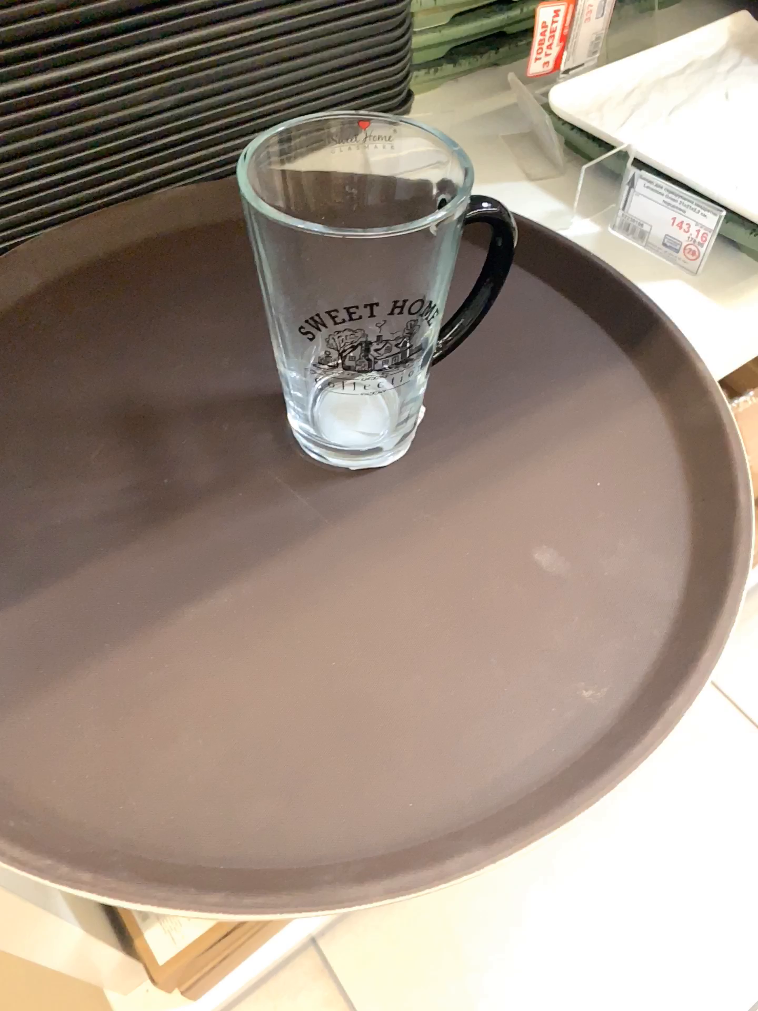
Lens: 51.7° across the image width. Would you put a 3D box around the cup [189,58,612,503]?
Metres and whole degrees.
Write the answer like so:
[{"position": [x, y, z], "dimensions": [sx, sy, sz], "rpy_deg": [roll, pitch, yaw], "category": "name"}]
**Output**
[{"position": [0.005, -0.091, 0.321], "dimensions": [0.120, 0.120, 0.090], "rpy_deg": [-22, 56, -17], "category": "cup"}]
